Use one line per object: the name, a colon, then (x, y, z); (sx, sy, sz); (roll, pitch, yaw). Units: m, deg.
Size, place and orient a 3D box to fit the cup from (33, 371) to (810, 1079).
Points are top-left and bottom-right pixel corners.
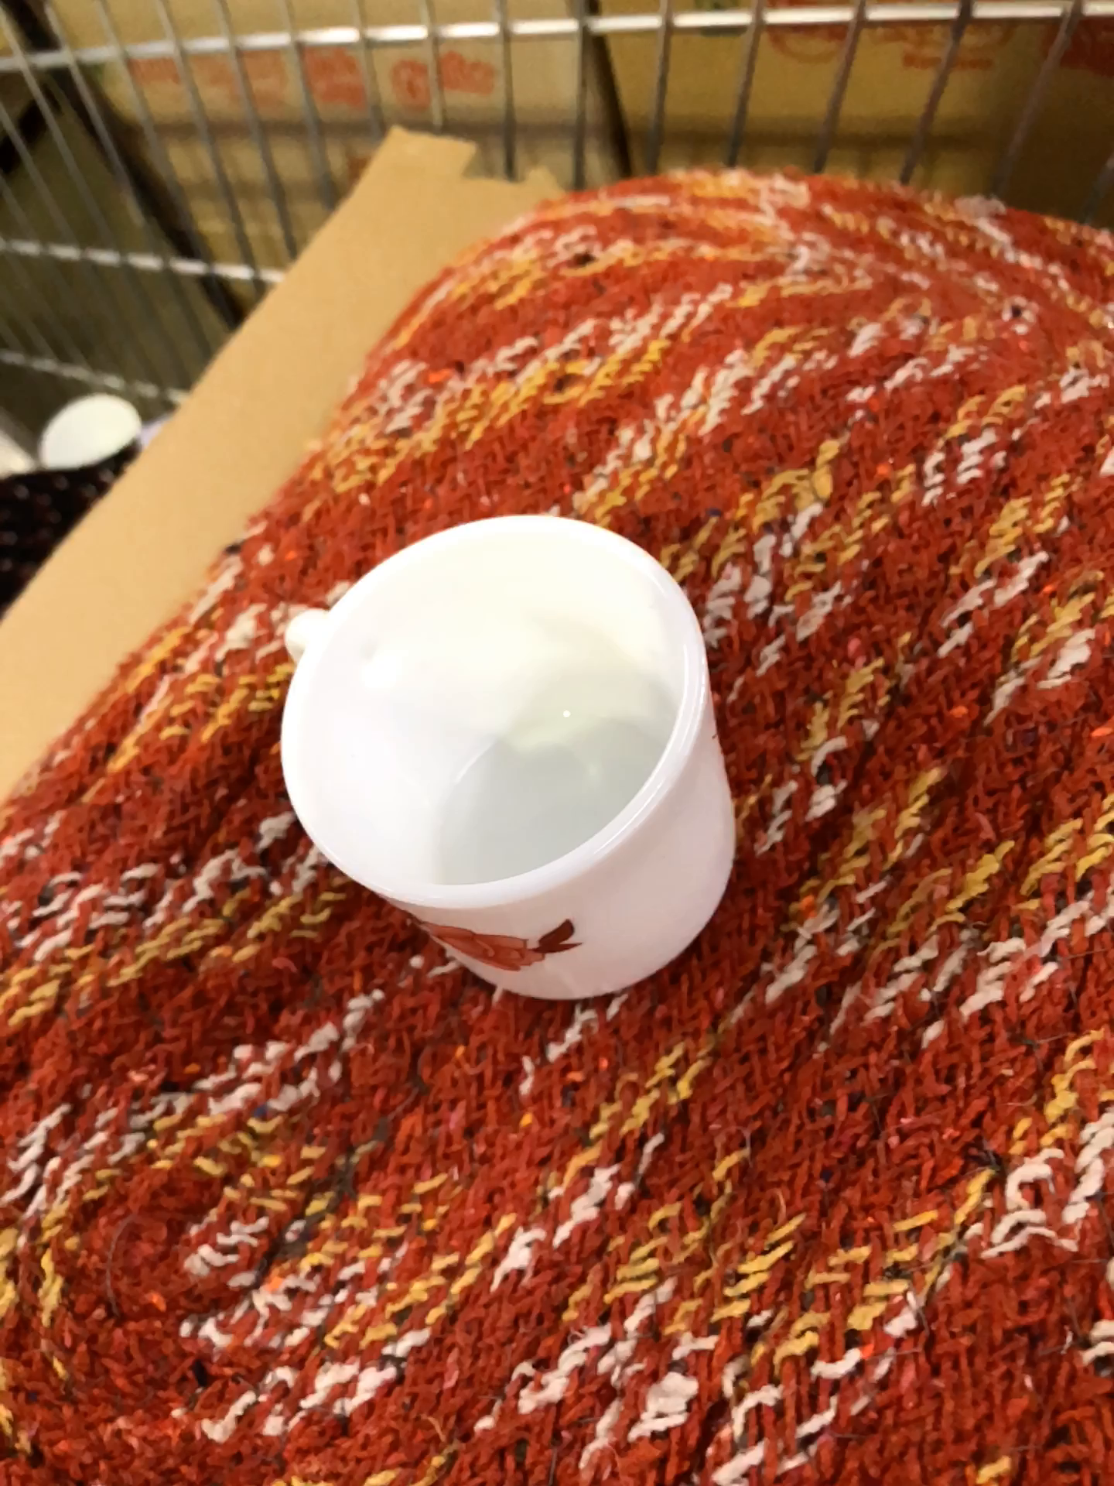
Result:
cup: (-0.017, -0.004, 0.198); (0.090, 0.060, 0.060); (27, 72, 27)
